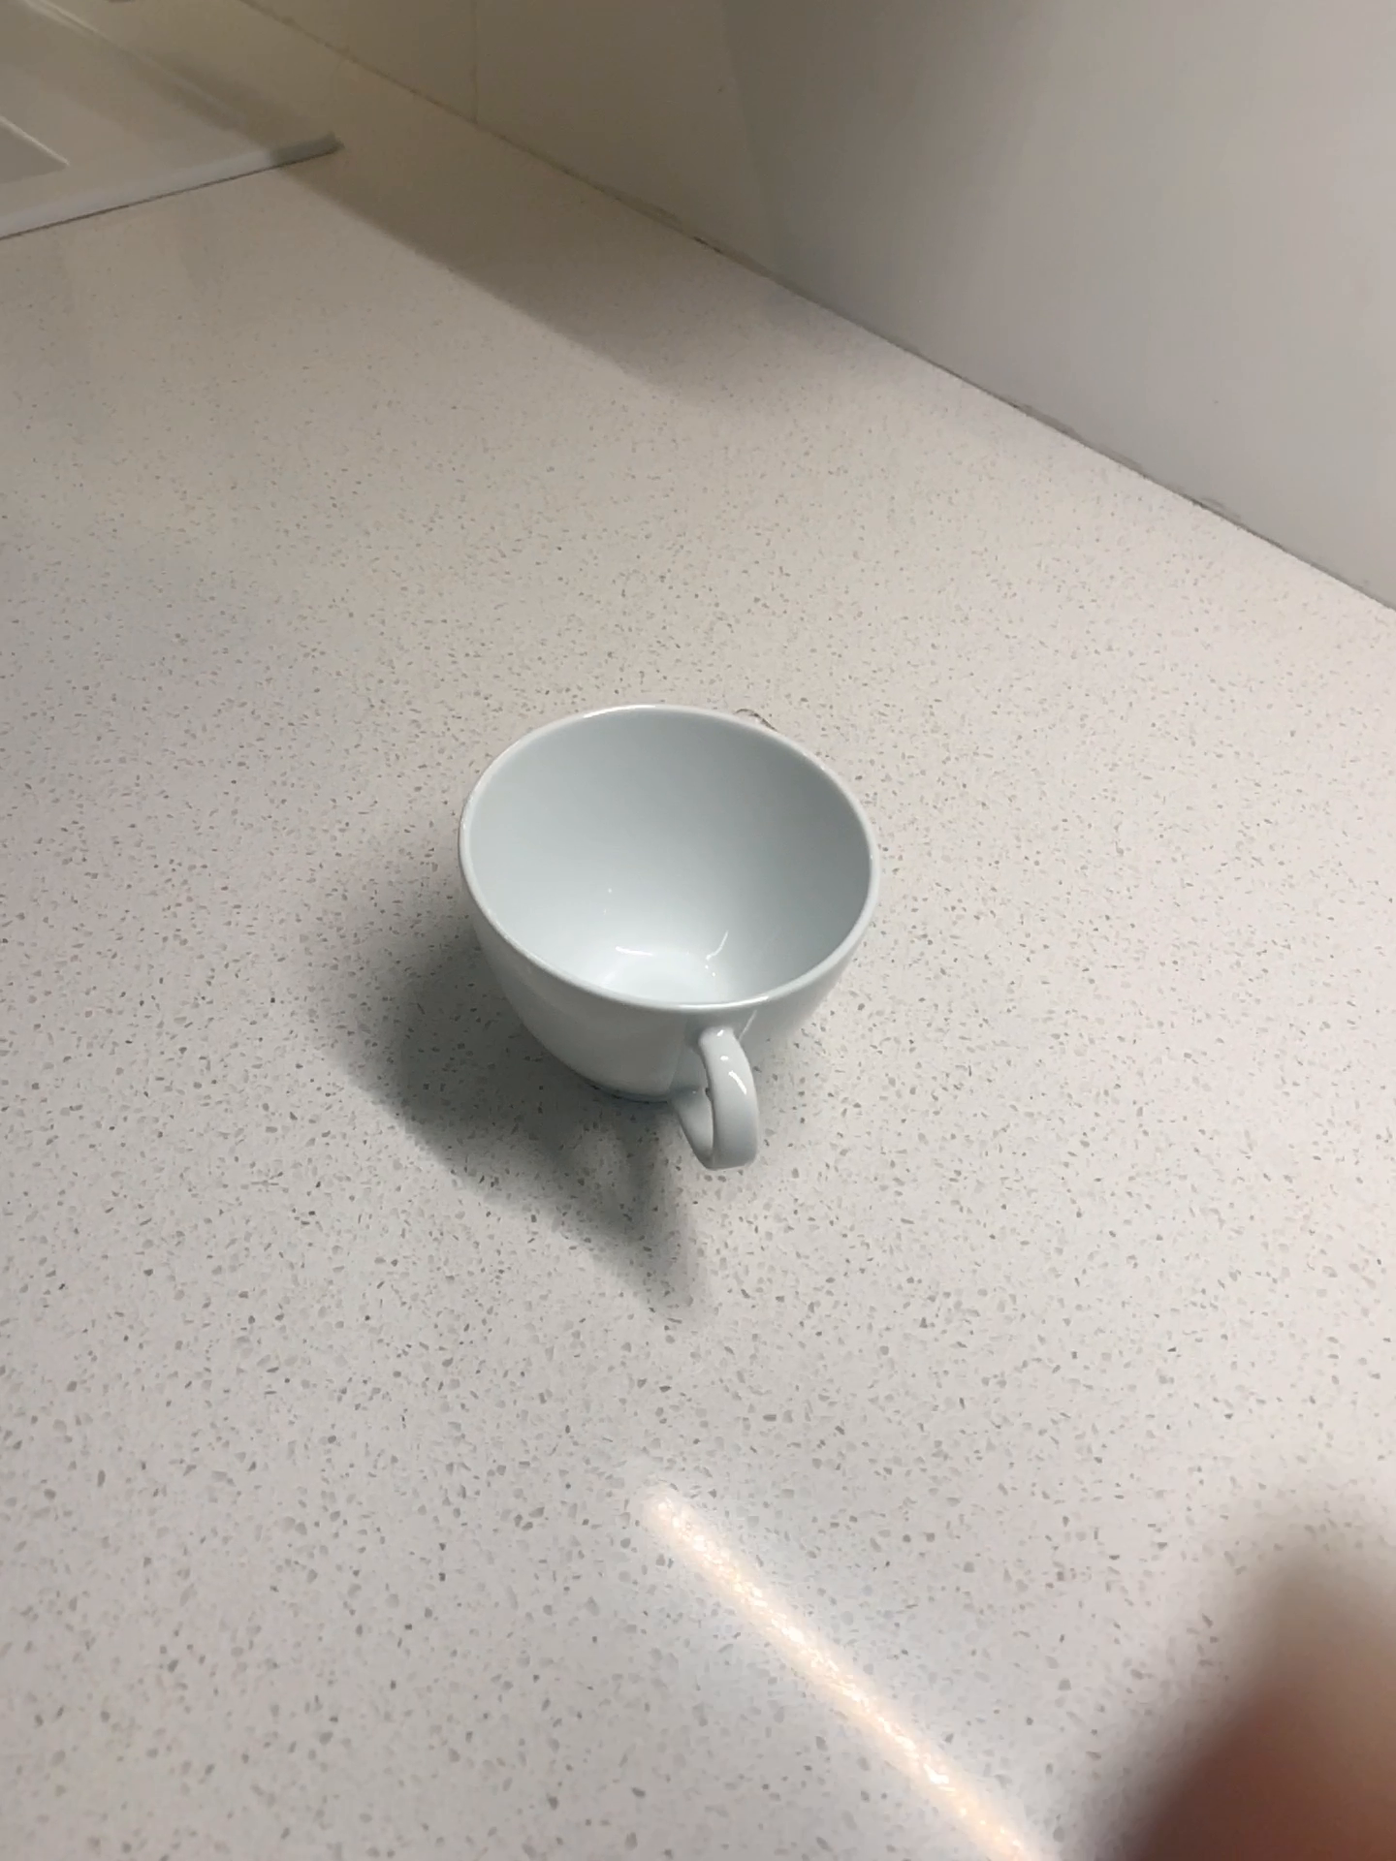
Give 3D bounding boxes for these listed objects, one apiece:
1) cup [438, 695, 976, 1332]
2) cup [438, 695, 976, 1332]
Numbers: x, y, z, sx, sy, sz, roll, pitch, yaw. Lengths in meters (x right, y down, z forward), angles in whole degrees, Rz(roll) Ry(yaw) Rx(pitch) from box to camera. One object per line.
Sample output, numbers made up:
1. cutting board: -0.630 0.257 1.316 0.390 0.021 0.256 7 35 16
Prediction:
1. cup: -0.007 0.012 0.318 0.090 0.050 0.130 -4 50 -11
2. cup: -0.007 0.012 0.318 0.090 0.050 0.130 -4 50 -11
